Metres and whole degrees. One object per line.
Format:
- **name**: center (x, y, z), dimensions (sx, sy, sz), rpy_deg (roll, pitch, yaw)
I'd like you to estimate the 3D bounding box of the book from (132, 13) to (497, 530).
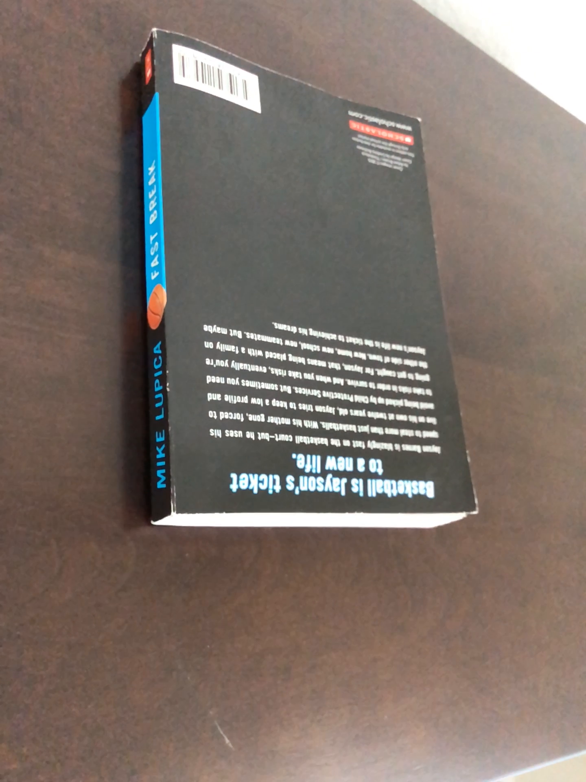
- **book**: center (0.007, -0.044, 0.280), dimensions (0.141, 0.036, 0.198), rpy_deg (7, 67, -32)
